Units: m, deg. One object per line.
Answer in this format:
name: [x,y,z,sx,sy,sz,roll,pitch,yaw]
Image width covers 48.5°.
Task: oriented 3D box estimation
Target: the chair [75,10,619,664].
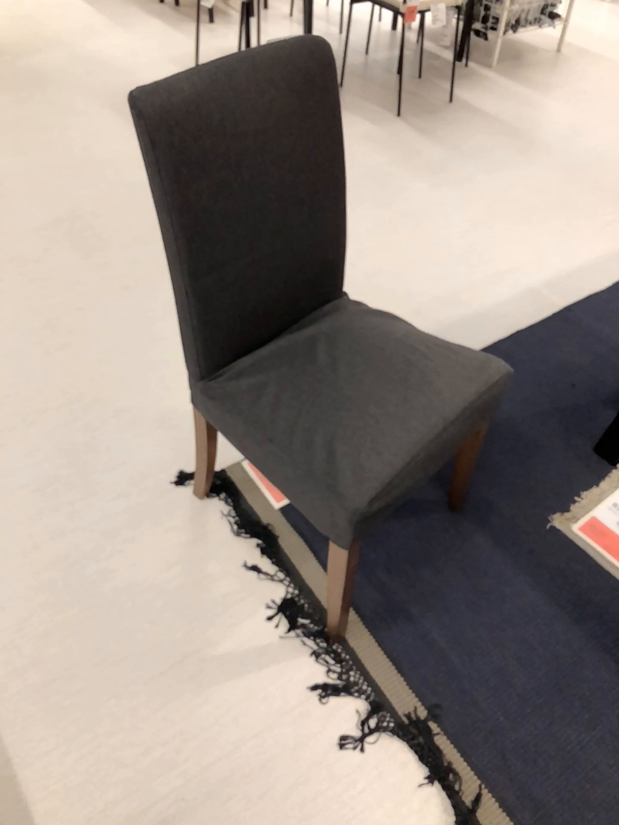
chair: [0.042,-0.111,1.307,0.552,0.964,0.542,34,53,27]
